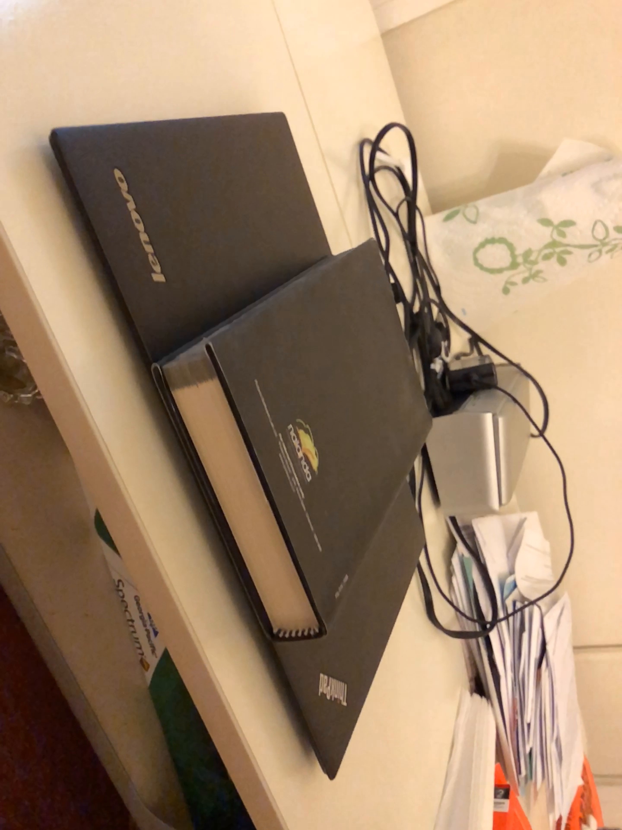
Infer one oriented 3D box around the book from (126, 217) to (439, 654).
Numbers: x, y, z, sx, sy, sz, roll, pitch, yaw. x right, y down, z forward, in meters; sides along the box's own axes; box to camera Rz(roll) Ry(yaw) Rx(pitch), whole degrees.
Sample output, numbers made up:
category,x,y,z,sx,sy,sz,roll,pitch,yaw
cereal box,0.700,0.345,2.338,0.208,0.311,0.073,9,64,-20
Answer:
category,x,y,z,sx,sy,sz,roll,pitch,yaw
book,0.010,-0.011,0.376,0.150,0.040,0.231,69,26,-17
